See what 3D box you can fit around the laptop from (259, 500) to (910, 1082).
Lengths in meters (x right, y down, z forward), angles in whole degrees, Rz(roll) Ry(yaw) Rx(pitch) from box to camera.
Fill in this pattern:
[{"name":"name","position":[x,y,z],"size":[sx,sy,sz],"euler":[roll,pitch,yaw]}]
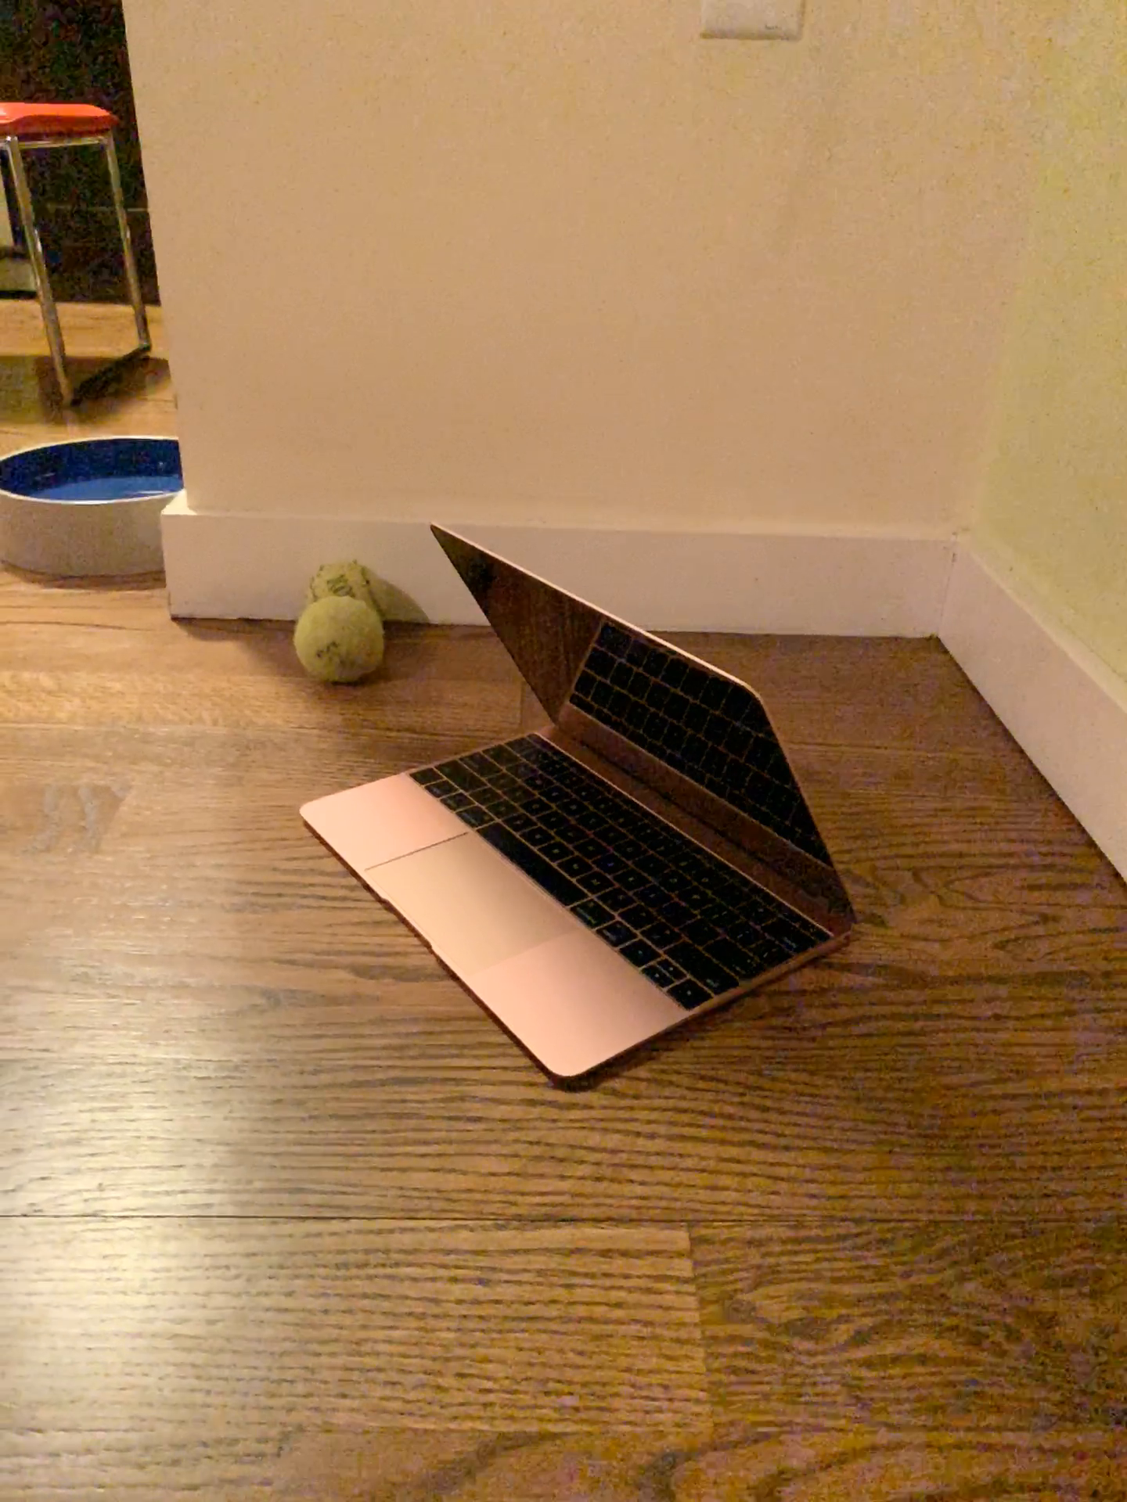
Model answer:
[{"name":"laptop","position":[-0.004,-0.007,0.643],"size":[0.206,0.168,0.289],"euler":[-18,34,-32]}]
